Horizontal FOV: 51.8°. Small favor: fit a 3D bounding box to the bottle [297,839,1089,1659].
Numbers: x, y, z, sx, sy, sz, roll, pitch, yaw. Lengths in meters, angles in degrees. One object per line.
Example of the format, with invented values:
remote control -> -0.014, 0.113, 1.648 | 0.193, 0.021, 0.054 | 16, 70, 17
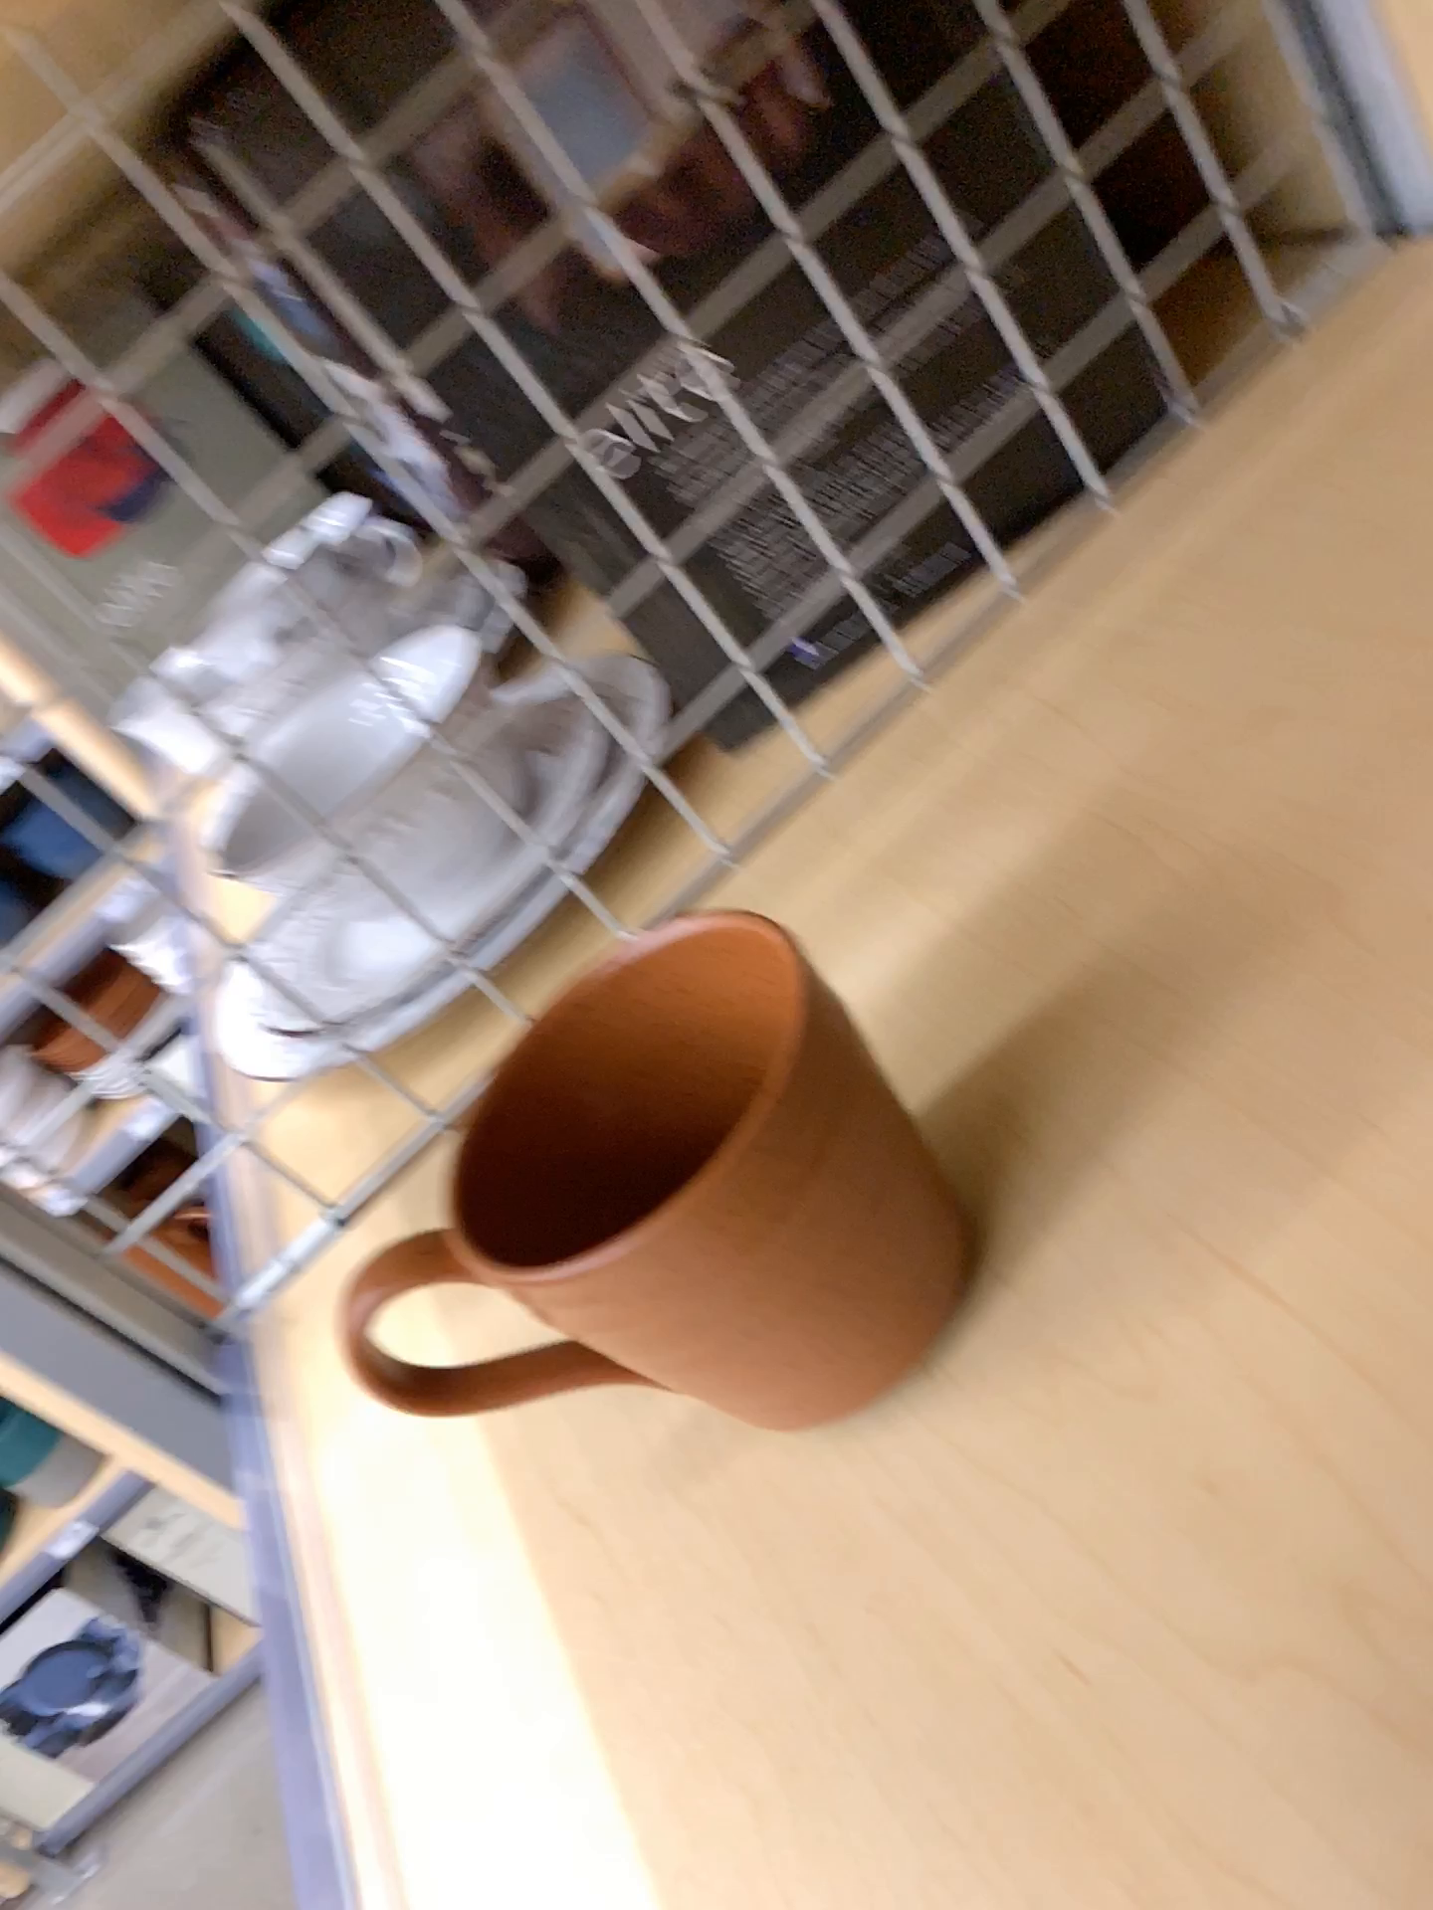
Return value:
bottle -> -0.012, 0.067, 0.347 | 0.140, 0.089, 0.101 | -36, 31, 9
